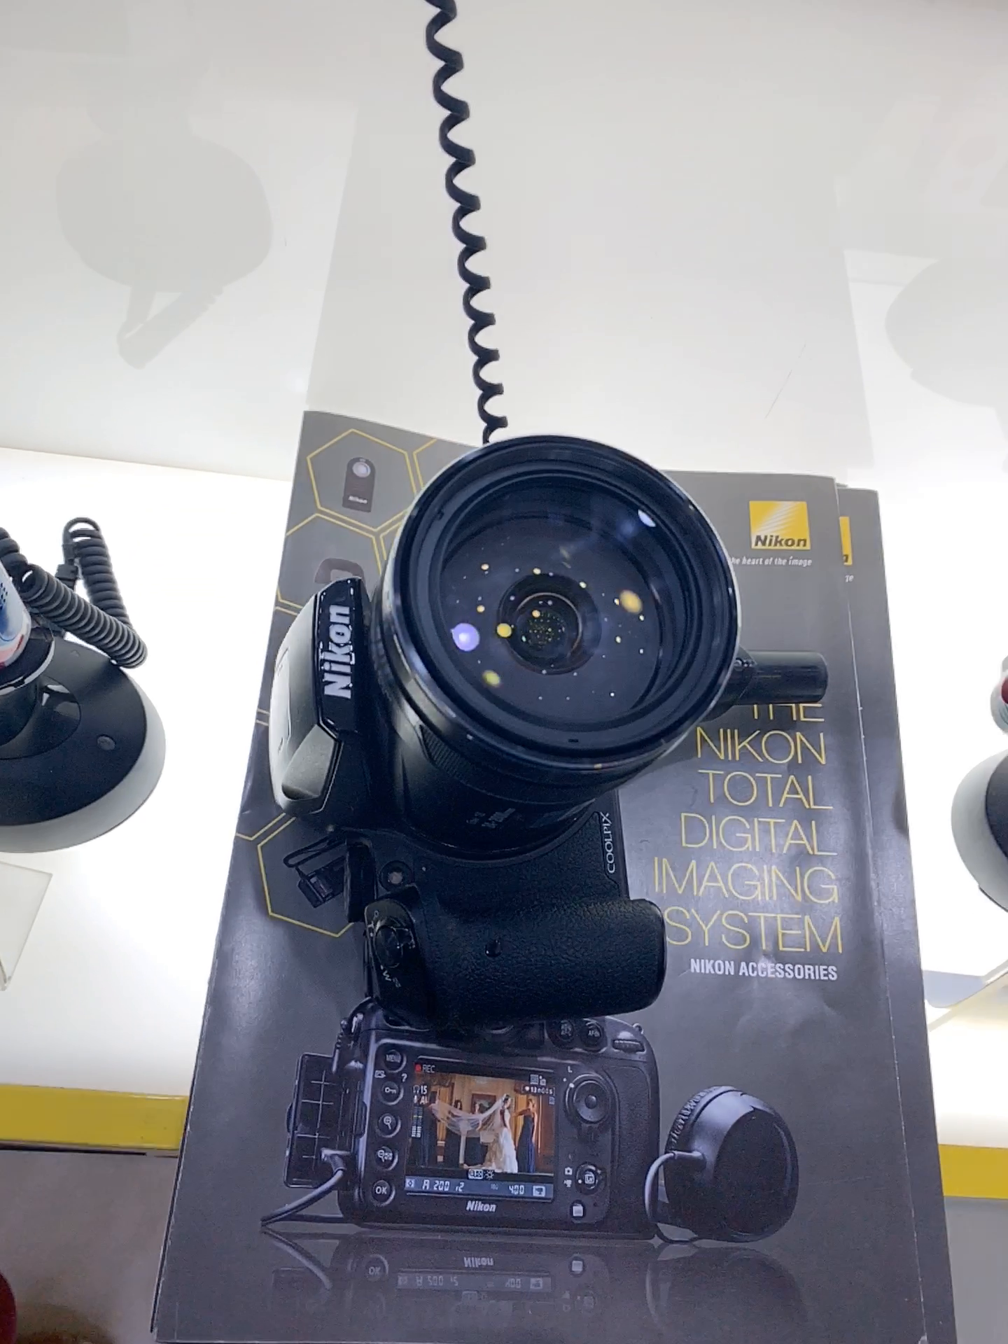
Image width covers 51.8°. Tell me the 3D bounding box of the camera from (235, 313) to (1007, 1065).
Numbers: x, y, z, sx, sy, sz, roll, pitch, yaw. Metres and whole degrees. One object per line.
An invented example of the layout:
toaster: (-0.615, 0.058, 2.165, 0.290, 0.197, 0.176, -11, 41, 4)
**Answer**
camera: (0.039, 0.013, 0.262, 0.200, 0.100, 0.140, 2, 64, -17)
